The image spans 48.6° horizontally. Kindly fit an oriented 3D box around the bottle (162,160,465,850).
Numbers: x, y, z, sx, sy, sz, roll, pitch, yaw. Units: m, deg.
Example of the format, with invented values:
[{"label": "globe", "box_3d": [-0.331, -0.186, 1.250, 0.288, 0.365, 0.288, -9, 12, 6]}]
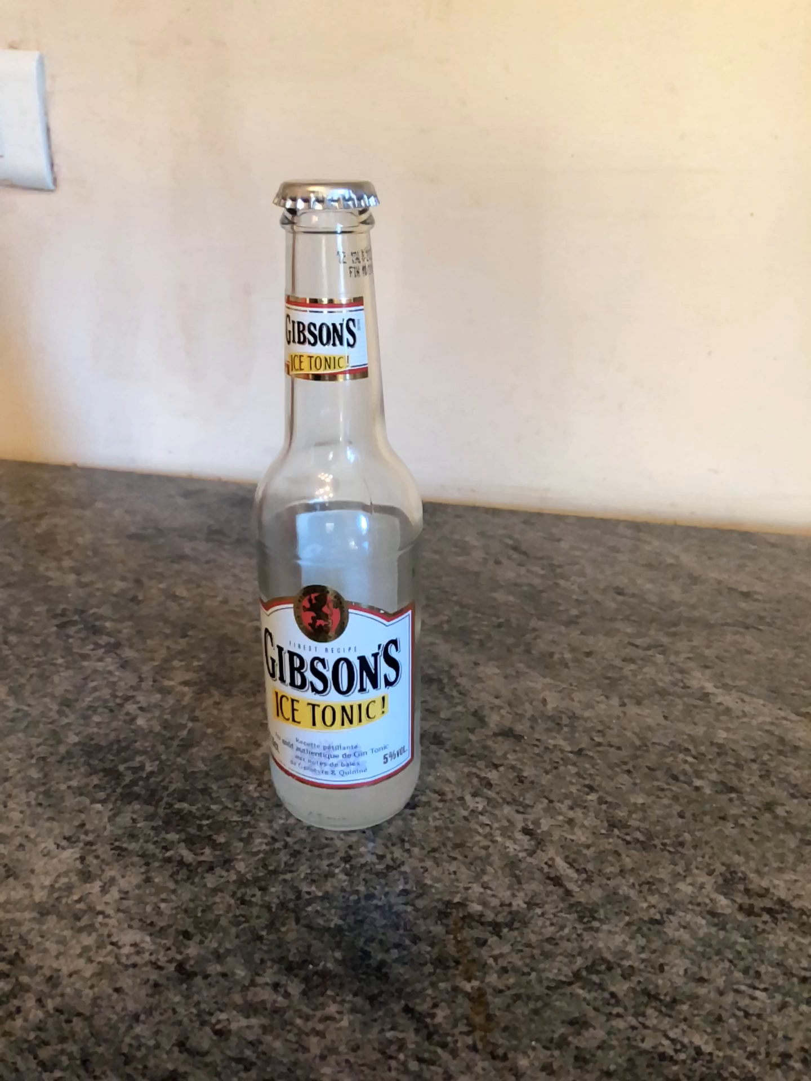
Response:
[{"label": "bottle", "box_3d": [-0.023, -0.008, 0.289, 0.070, 0.209, 0.060, 4, 24, 8]}]
